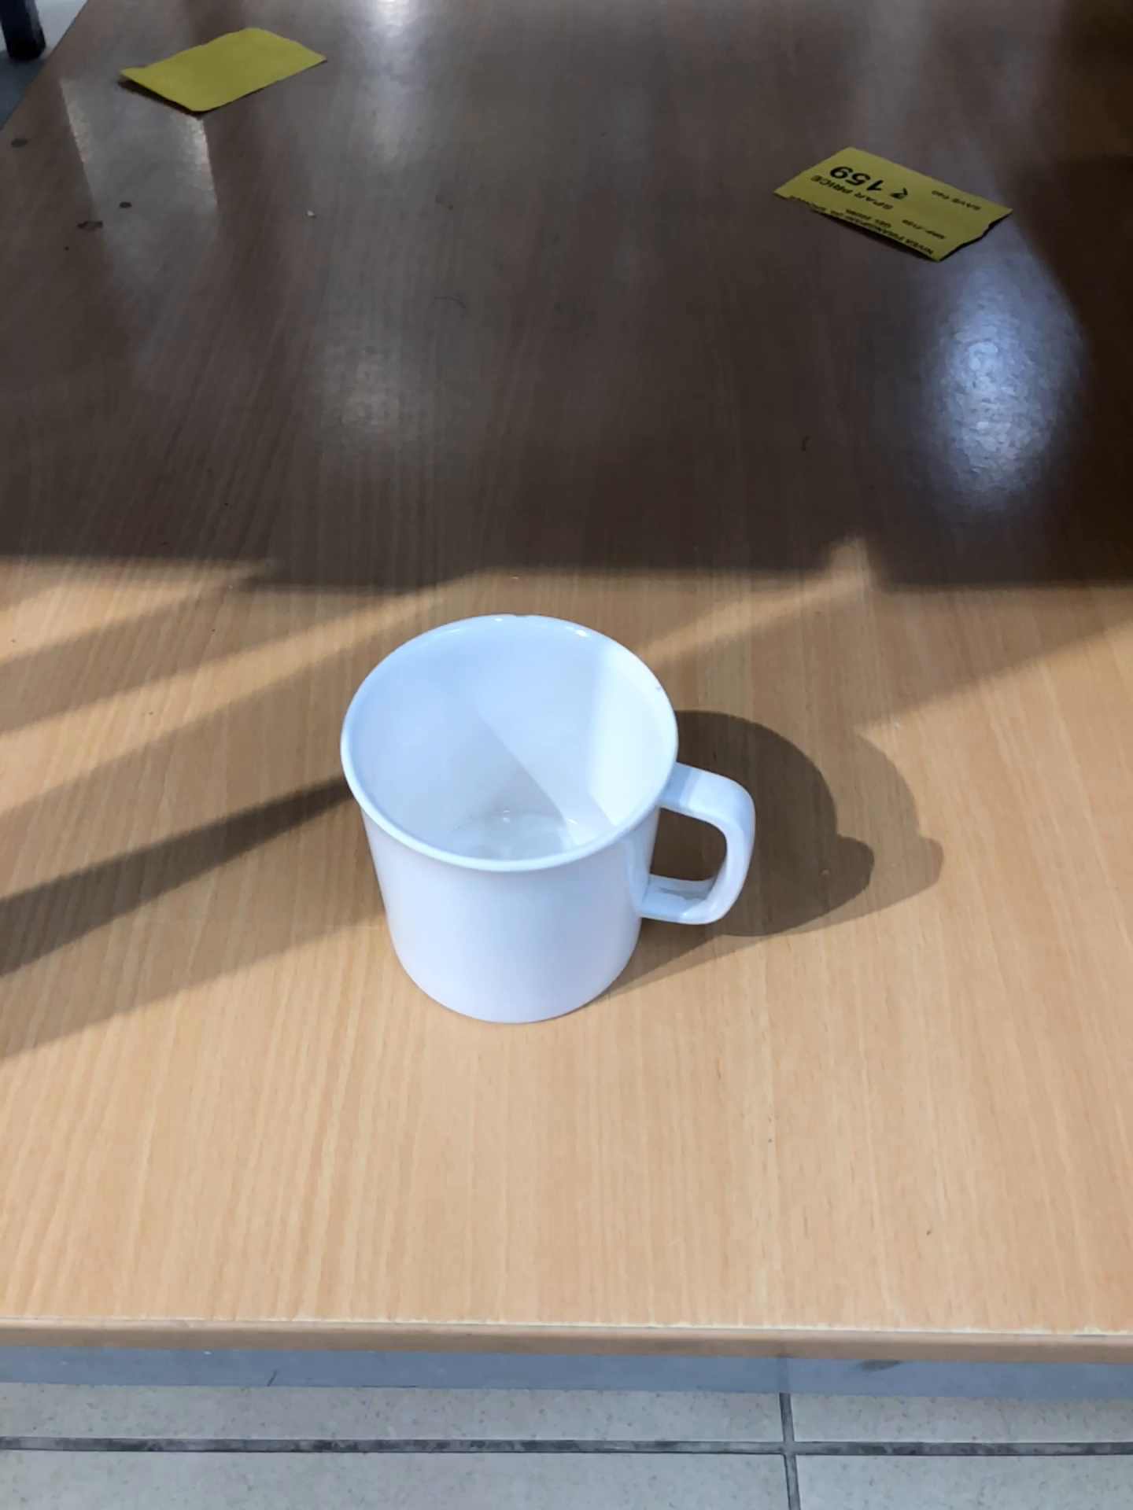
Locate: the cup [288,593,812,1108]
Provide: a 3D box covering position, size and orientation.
[{"bbox_3d":[-0.001,0.026,0.340,0.110,0.090,0.080,12,51,10],"label":"cup"}]
